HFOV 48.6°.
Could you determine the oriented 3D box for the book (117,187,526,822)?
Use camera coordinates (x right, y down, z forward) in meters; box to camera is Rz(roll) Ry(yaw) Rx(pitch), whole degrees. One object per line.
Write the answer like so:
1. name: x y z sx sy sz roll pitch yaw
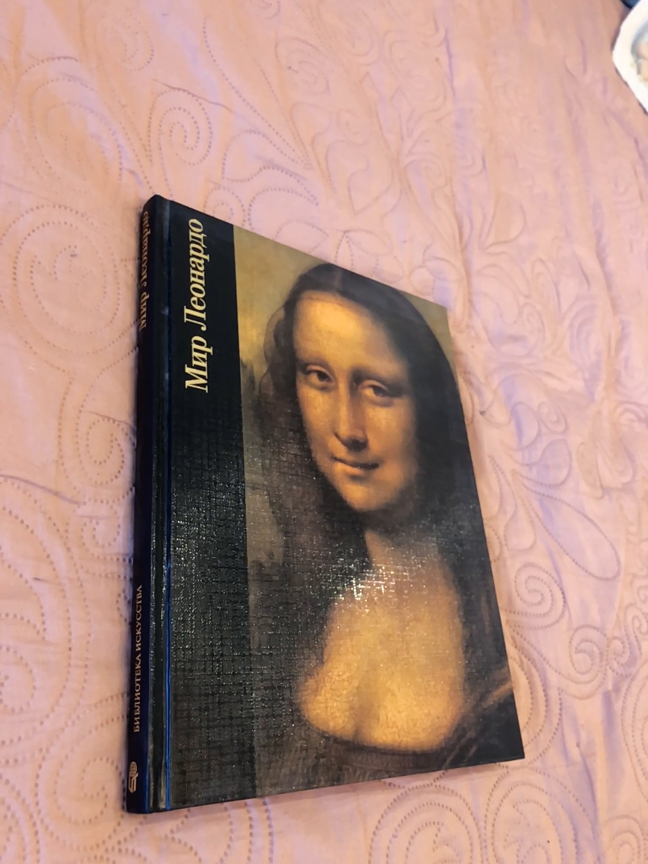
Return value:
1. book: 0.004 0.031 0.372 0.211 0.030 0.273 12 64 -37
